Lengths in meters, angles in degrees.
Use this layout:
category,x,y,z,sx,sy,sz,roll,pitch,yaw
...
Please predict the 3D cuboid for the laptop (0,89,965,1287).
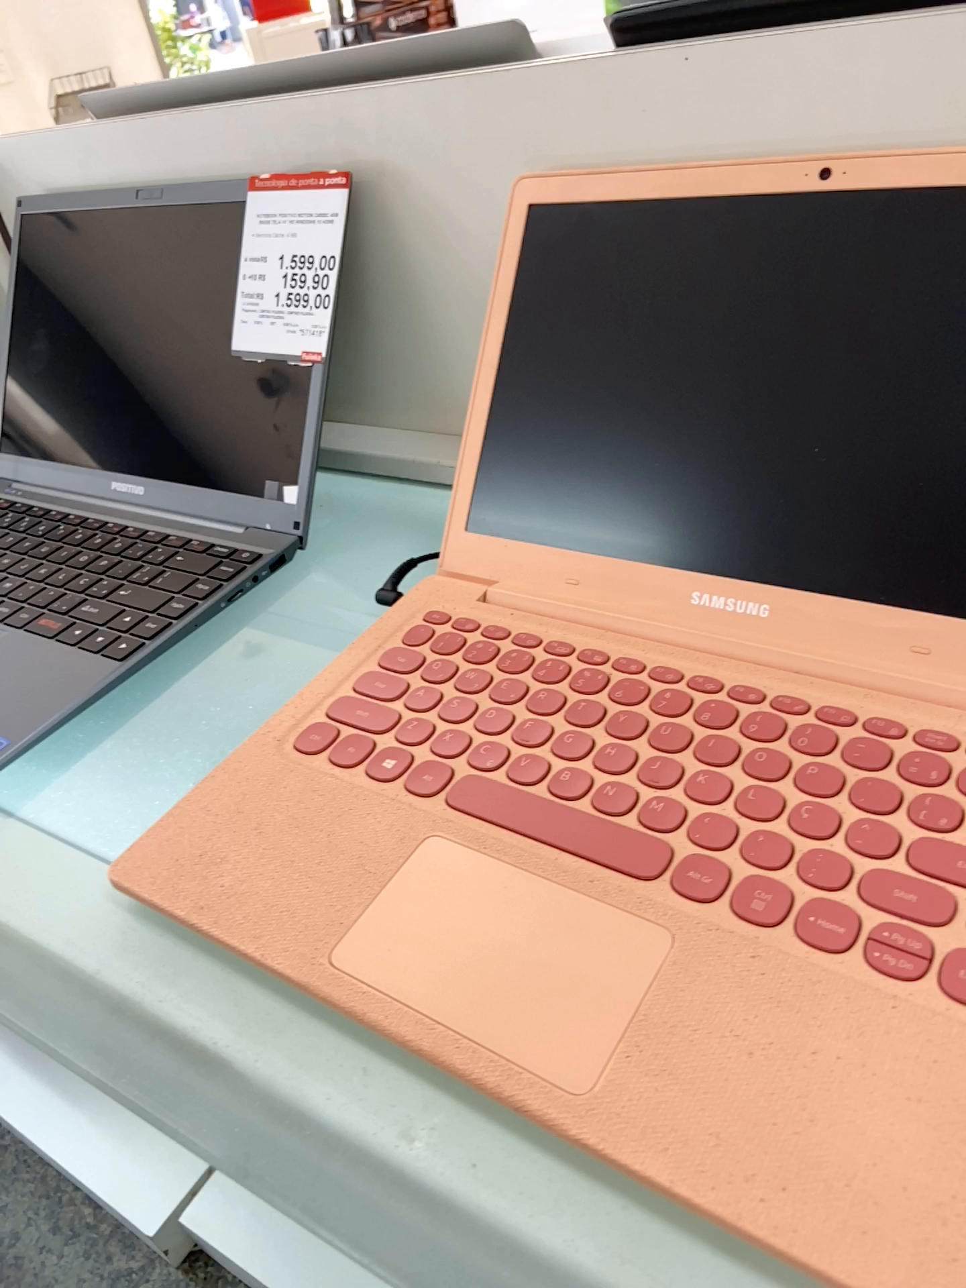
category,x,y,z,sx,sy,sz,roll,pitch,yaw
laptop,0.069,-0.046,0.363,0.330,0.160,0.360,14,44,34
